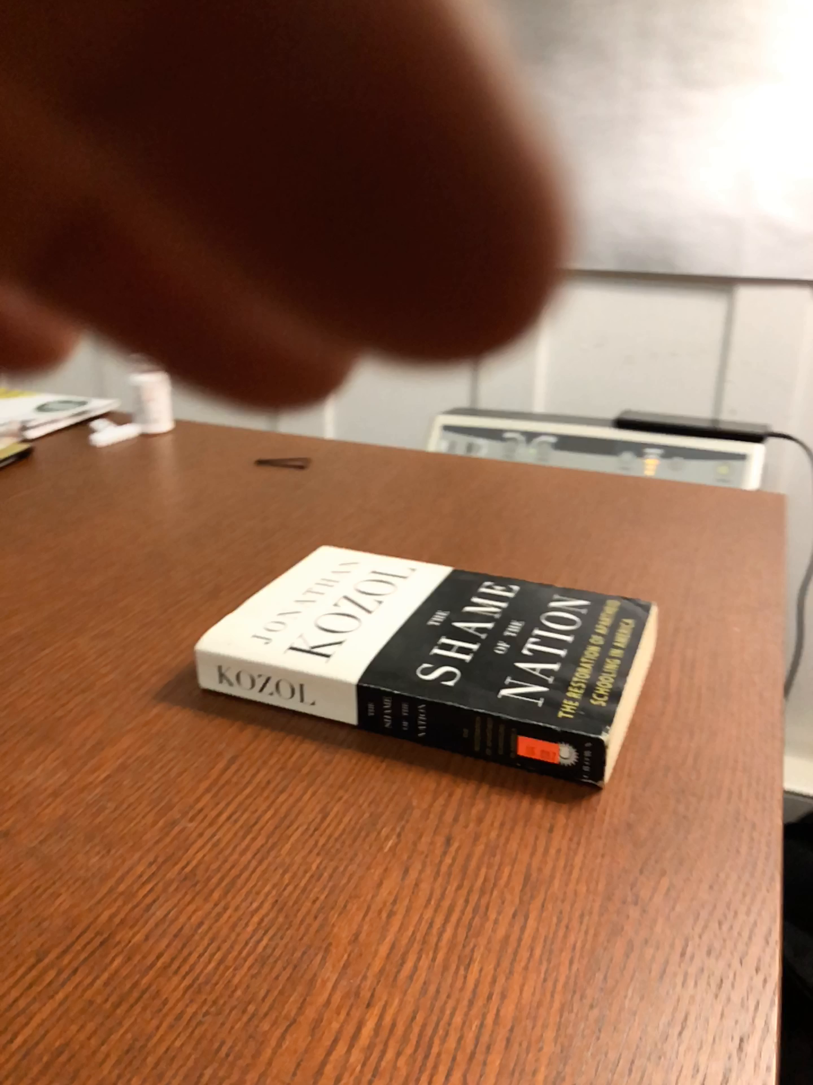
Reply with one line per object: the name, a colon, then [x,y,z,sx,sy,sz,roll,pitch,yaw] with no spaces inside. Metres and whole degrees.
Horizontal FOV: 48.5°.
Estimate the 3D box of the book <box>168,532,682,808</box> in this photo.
book: [0.018,0.053,0.485,0.230,0.030,0.161,10,23,21]
